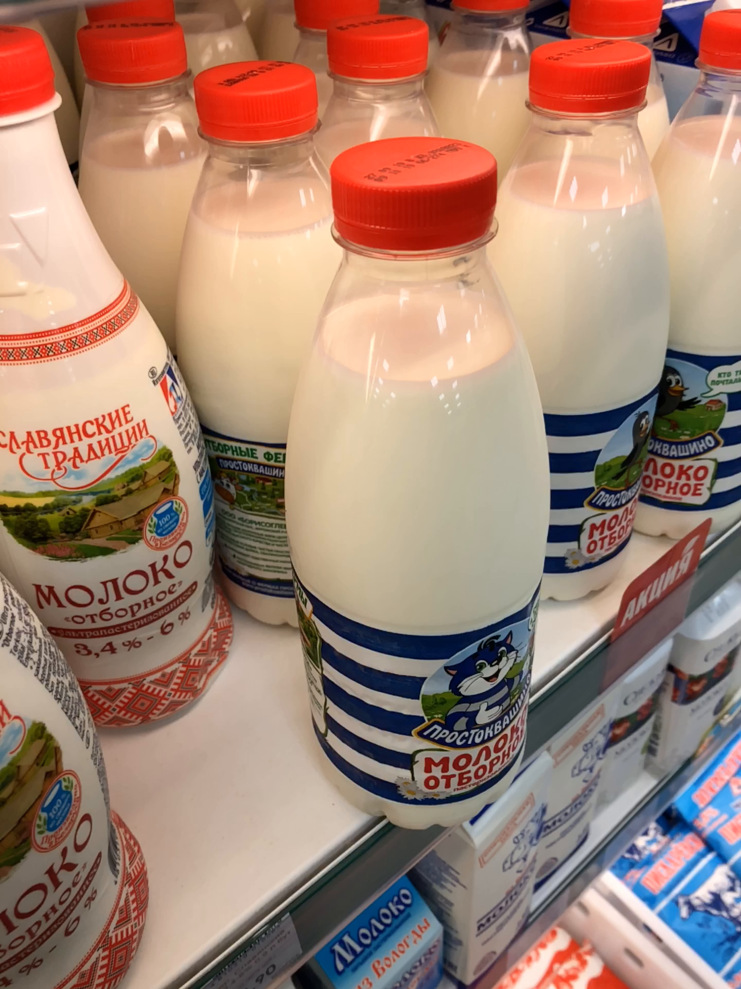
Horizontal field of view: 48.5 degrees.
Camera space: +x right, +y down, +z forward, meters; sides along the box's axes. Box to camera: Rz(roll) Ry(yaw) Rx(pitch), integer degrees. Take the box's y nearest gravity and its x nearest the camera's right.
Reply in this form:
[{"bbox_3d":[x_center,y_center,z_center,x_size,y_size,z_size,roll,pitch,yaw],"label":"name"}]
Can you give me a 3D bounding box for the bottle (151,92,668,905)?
[{"bbox_3d":[0.014,0.012,0.257,0.090,0.228,0.080,-22,40,-22],"label":"bottle"}]
